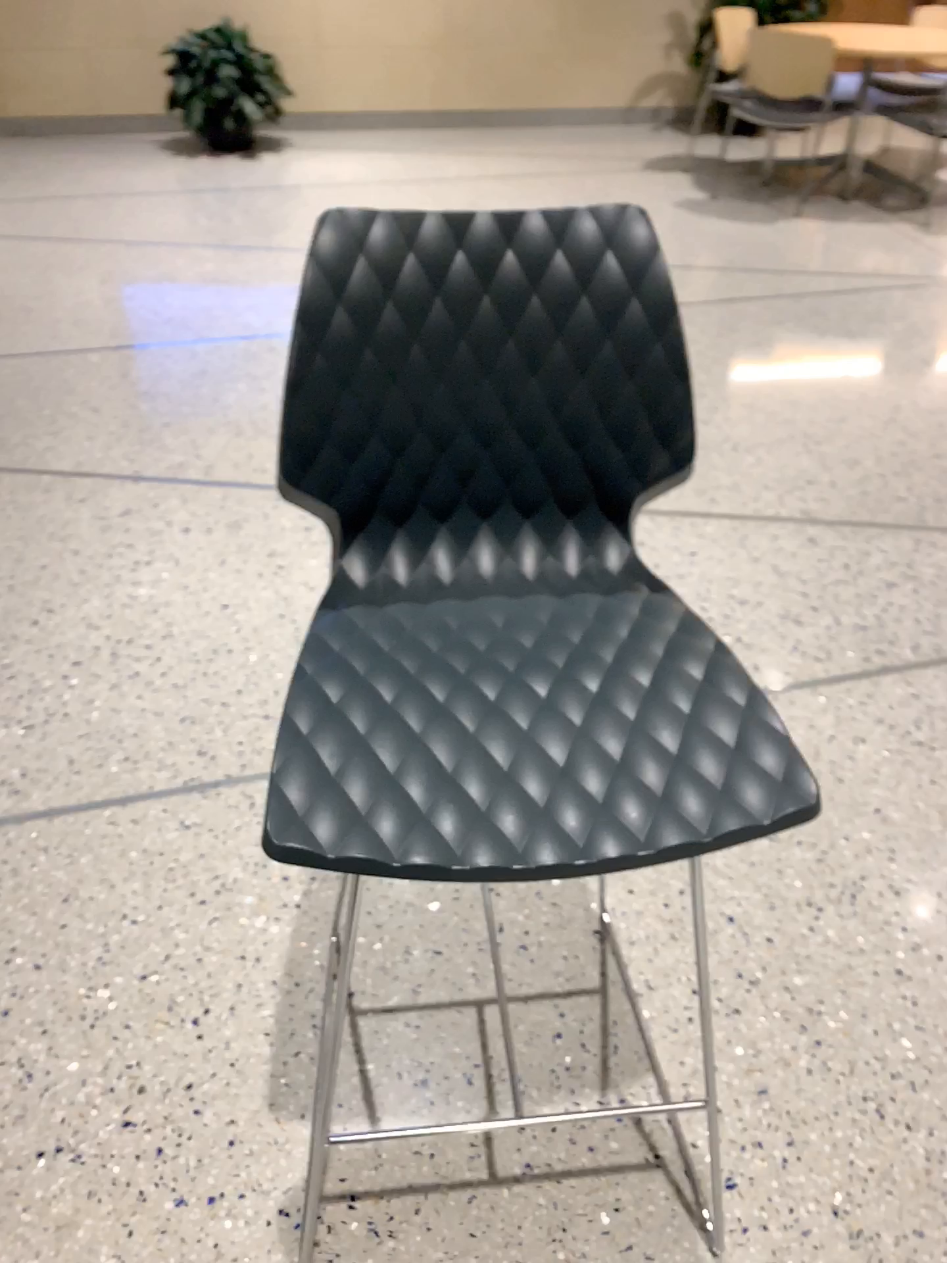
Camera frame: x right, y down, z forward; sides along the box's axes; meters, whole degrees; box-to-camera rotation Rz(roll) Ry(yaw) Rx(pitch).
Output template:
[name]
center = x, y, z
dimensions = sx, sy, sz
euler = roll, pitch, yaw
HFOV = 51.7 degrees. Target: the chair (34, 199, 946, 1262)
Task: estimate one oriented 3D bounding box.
[chair]
center = 0.040, 0.167, 0.973
dimensions = 0.534, 0.995, 0.536
euler = -2, 37, -4
